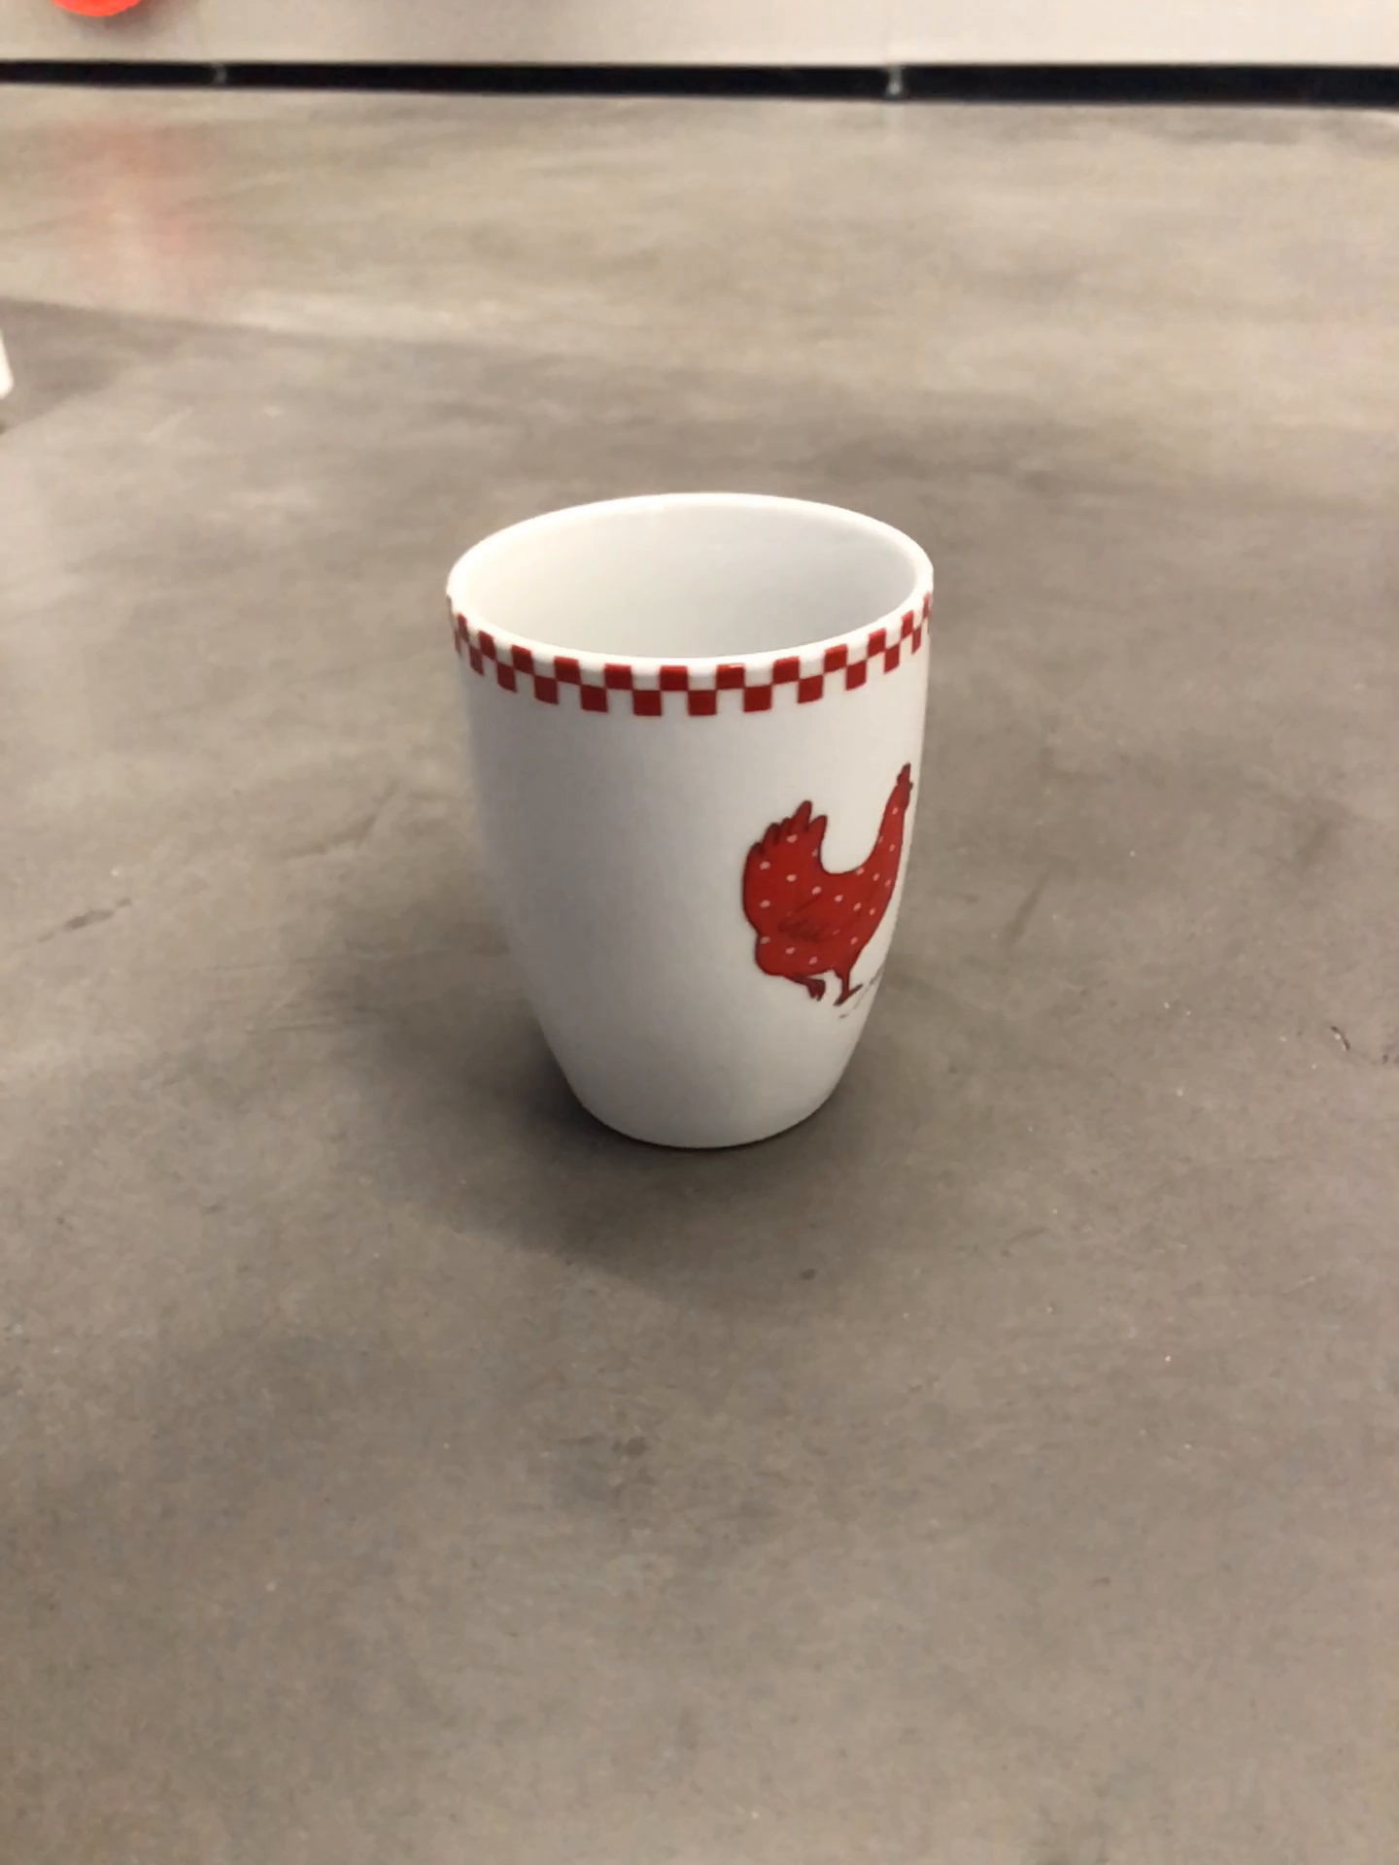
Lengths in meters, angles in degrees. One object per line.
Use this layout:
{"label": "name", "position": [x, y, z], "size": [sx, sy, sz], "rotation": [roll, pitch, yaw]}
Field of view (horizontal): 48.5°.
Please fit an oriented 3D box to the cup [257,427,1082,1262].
{"label": "cup", "position": [-0.001, -0.024, 0.274], "size": [0.087, 0.092, 0.103], "rotation": [22, 40, 32]}
